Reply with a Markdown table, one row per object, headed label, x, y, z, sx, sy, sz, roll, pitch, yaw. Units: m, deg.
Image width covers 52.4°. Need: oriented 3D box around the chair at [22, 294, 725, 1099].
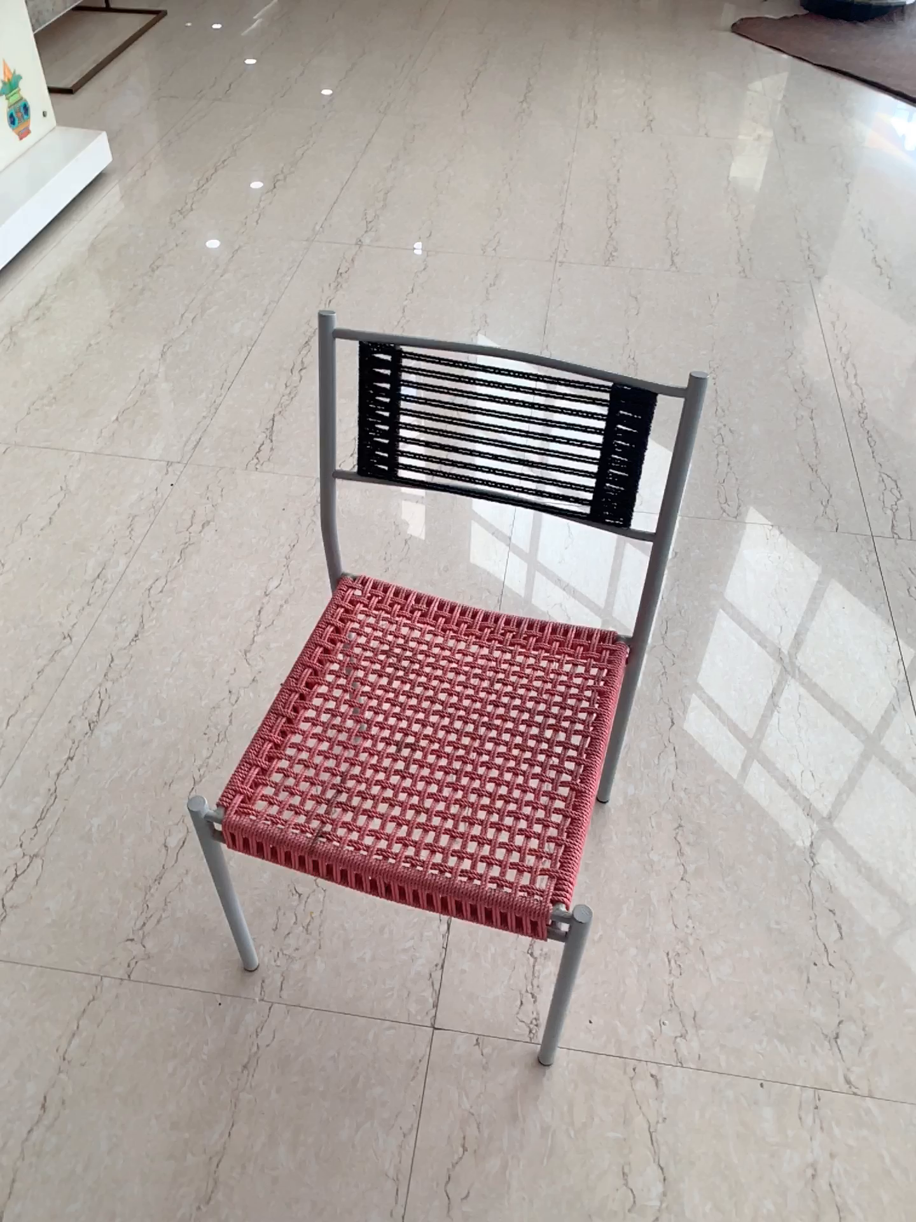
| label | x | y | z | sx | sy | sz | roll | pitch | yaw |
| --- | --- | --- | --- | --- | --- | --- | --- | --- | --- |
| chair | -0.033 | 0.115 | 1.182 | 0.530 | 0.734 | 0.585 | 12 | 46 | 10 |
